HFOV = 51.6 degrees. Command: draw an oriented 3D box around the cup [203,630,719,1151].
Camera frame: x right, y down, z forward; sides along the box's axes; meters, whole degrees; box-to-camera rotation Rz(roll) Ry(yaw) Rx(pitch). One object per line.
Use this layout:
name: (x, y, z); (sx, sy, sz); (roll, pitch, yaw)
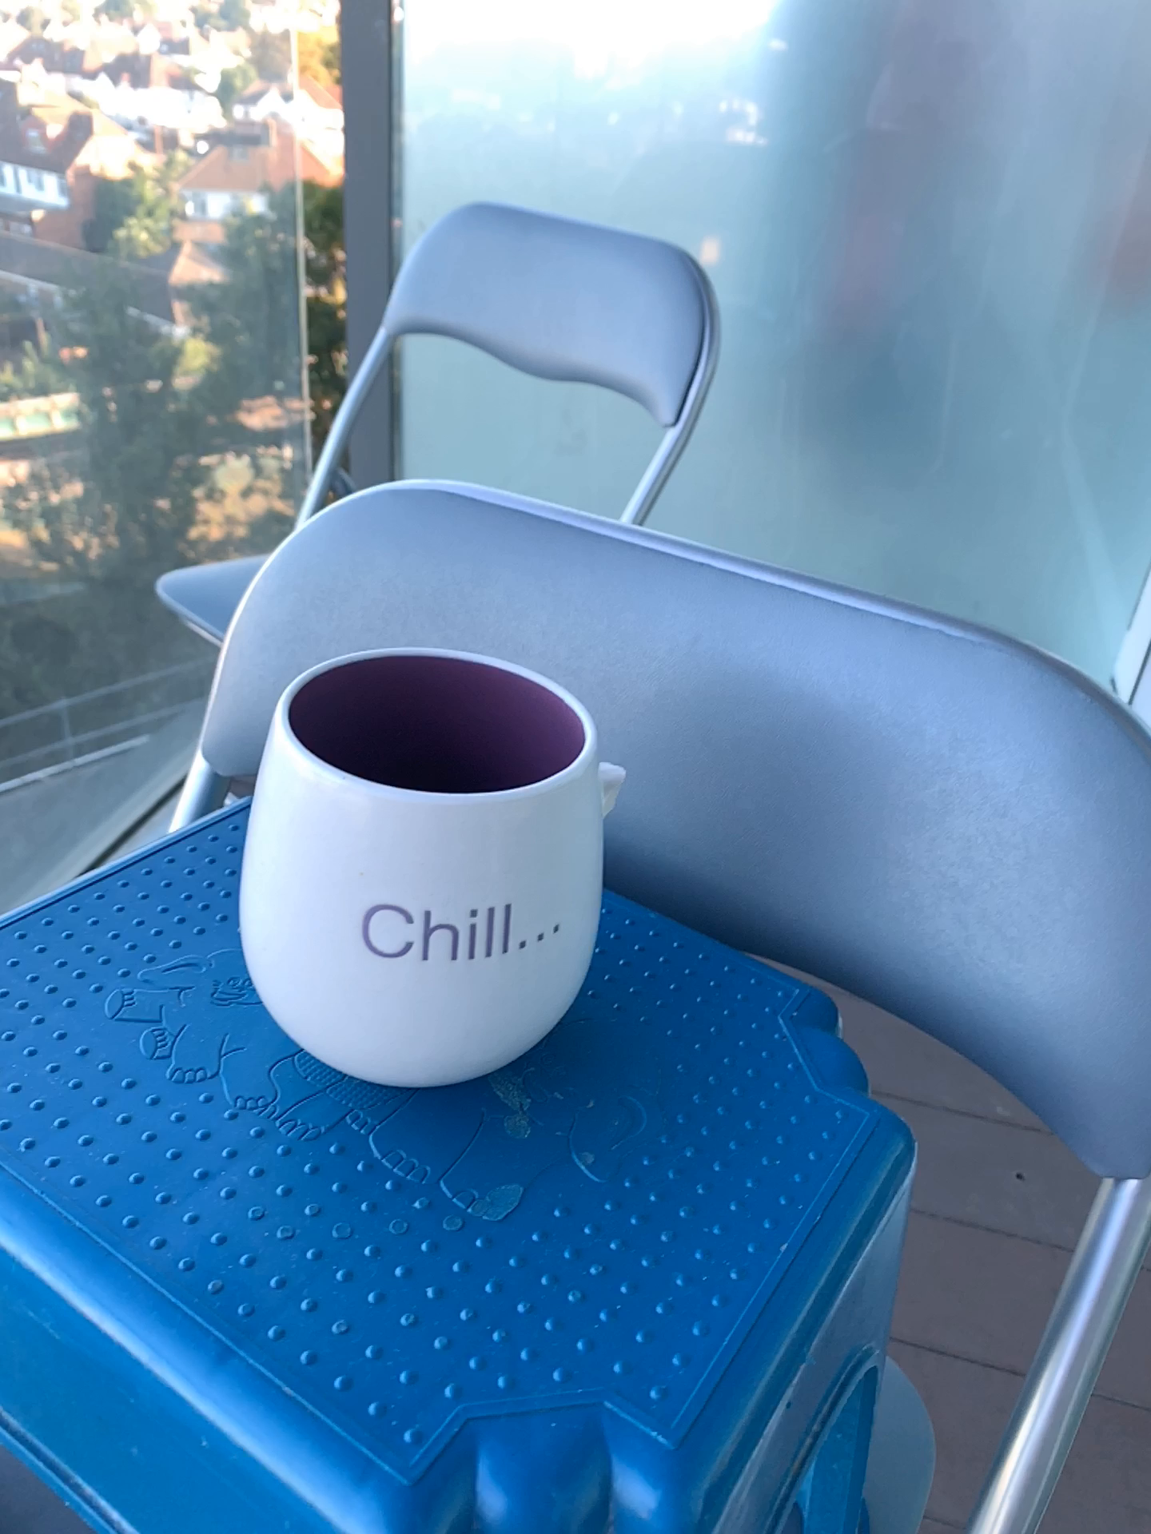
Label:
cup: (-0.040, 0.027, 0.349); (0.111, 0.090, 0.105); (6, 30, -4)
